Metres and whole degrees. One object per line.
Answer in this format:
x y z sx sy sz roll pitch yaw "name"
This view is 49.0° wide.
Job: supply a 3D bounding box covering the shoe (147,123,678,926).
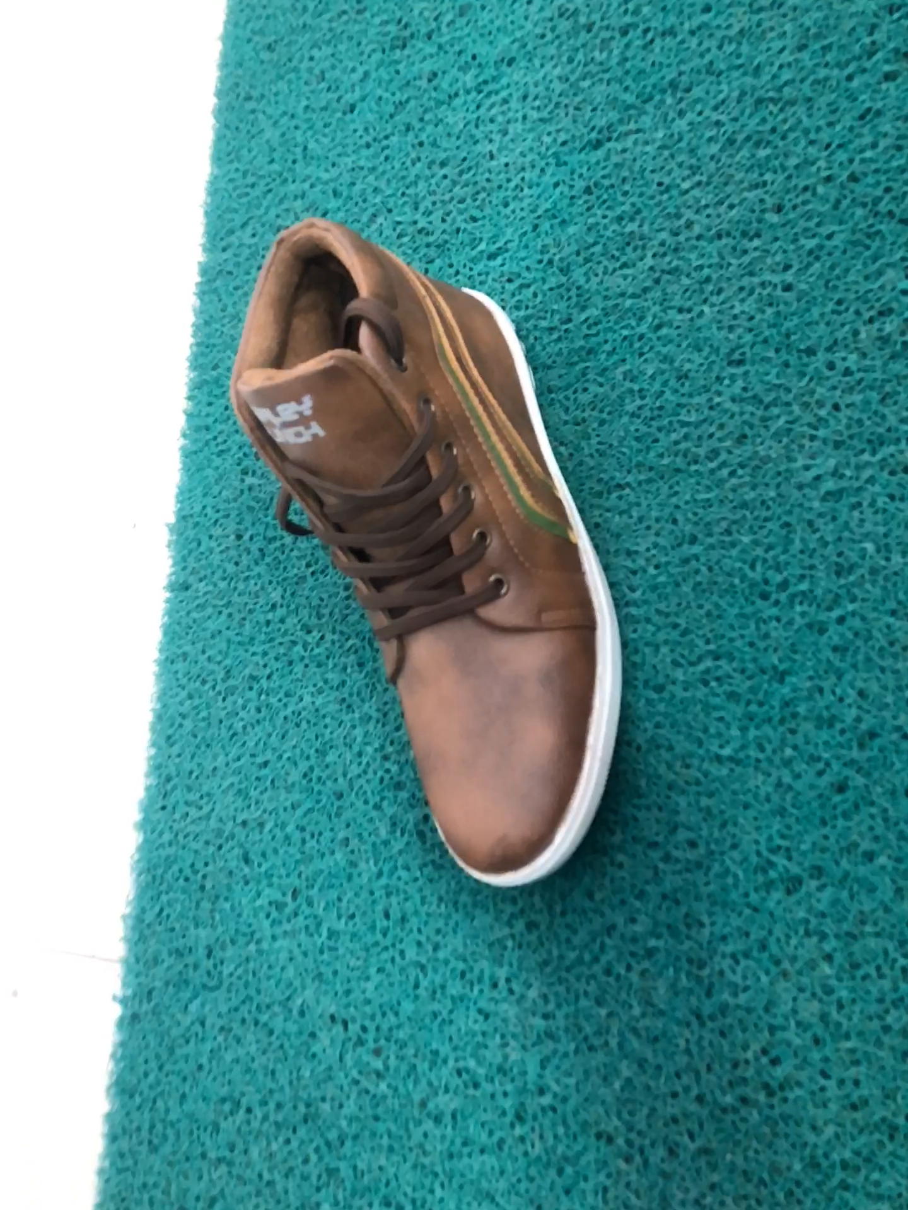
-0.014 -0.019 0.422 0.090 0.190 0.270 -21 69 27 "shoe"
